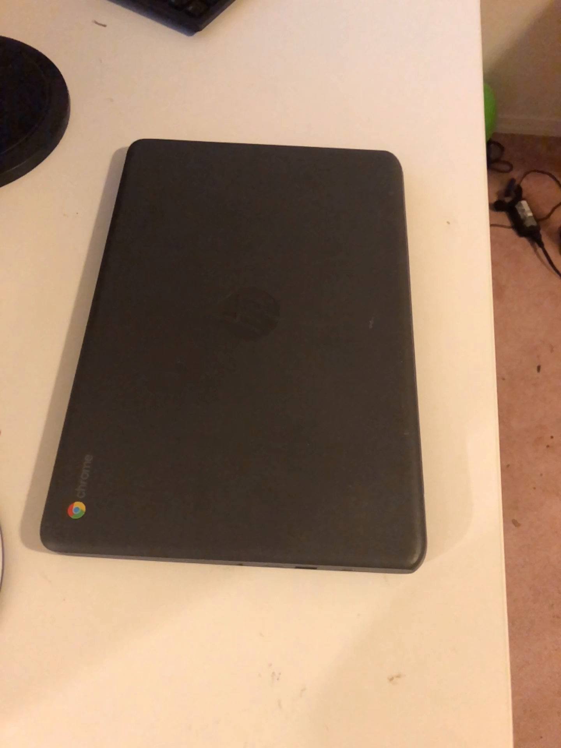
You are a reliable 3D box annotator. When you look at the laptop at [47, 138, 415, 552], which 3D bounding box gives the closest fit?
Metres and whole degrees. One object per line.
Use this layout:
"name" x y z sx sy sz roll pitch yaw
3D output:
"laptop" -0.022 -0.046 0.427 0.208 0.001 0.327 3 61 -1
